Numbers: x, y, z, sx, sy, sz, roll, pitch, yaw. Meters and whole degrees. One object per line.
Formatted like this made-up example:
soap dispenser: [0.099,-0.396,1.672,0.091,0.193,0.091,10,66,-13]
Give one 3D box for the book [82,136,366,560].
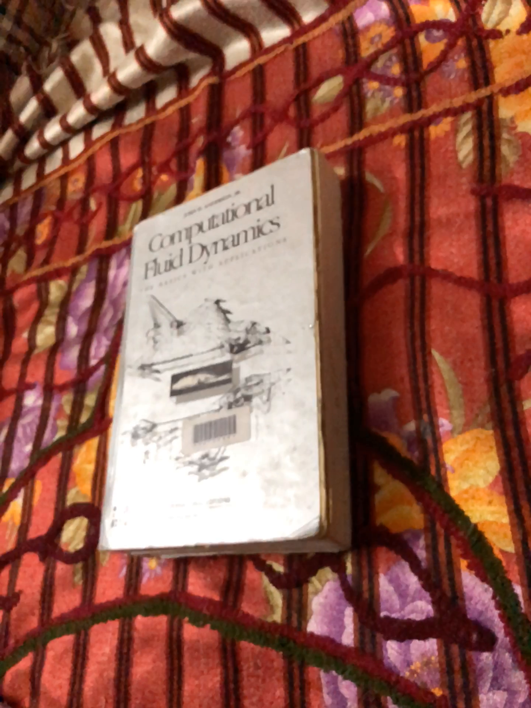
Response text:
book: [-0.027,0.002,0.365,0.159,0.046,0.229,-14,64,32]
